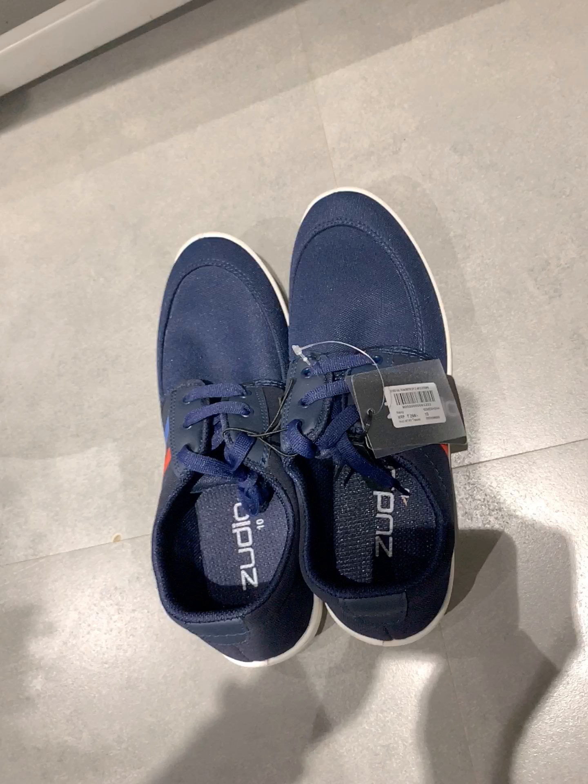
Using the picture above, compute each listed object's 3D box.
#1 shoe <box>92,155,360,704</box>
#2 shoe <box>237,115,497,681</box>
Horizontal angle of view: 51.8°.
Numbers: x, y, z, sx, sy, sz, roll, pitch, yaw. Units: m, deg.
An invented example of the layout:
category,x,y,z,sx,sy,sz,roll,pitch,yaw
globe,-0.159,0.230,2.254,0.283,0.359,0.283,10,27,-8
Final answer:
category,x,y,z,sx,sy,sz,roll,pitch,yaw
shoe,-0.046,0.022,0.404,0.120,0.100,0.310,-11,76,15
shoe,0.044,0.004,0.387,0.120,0.100,0.310,-7,77,16
